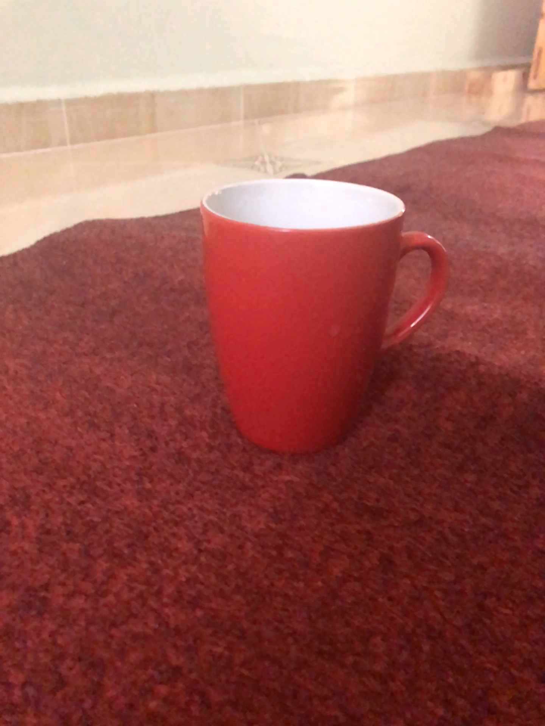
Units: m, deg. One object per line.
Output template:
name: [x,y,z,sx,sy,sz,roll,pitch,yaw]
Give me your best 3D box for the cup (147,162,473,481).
cup: [0.017,-0.028,0.266,0.109,0.094,0.078,-23,37,-37]
